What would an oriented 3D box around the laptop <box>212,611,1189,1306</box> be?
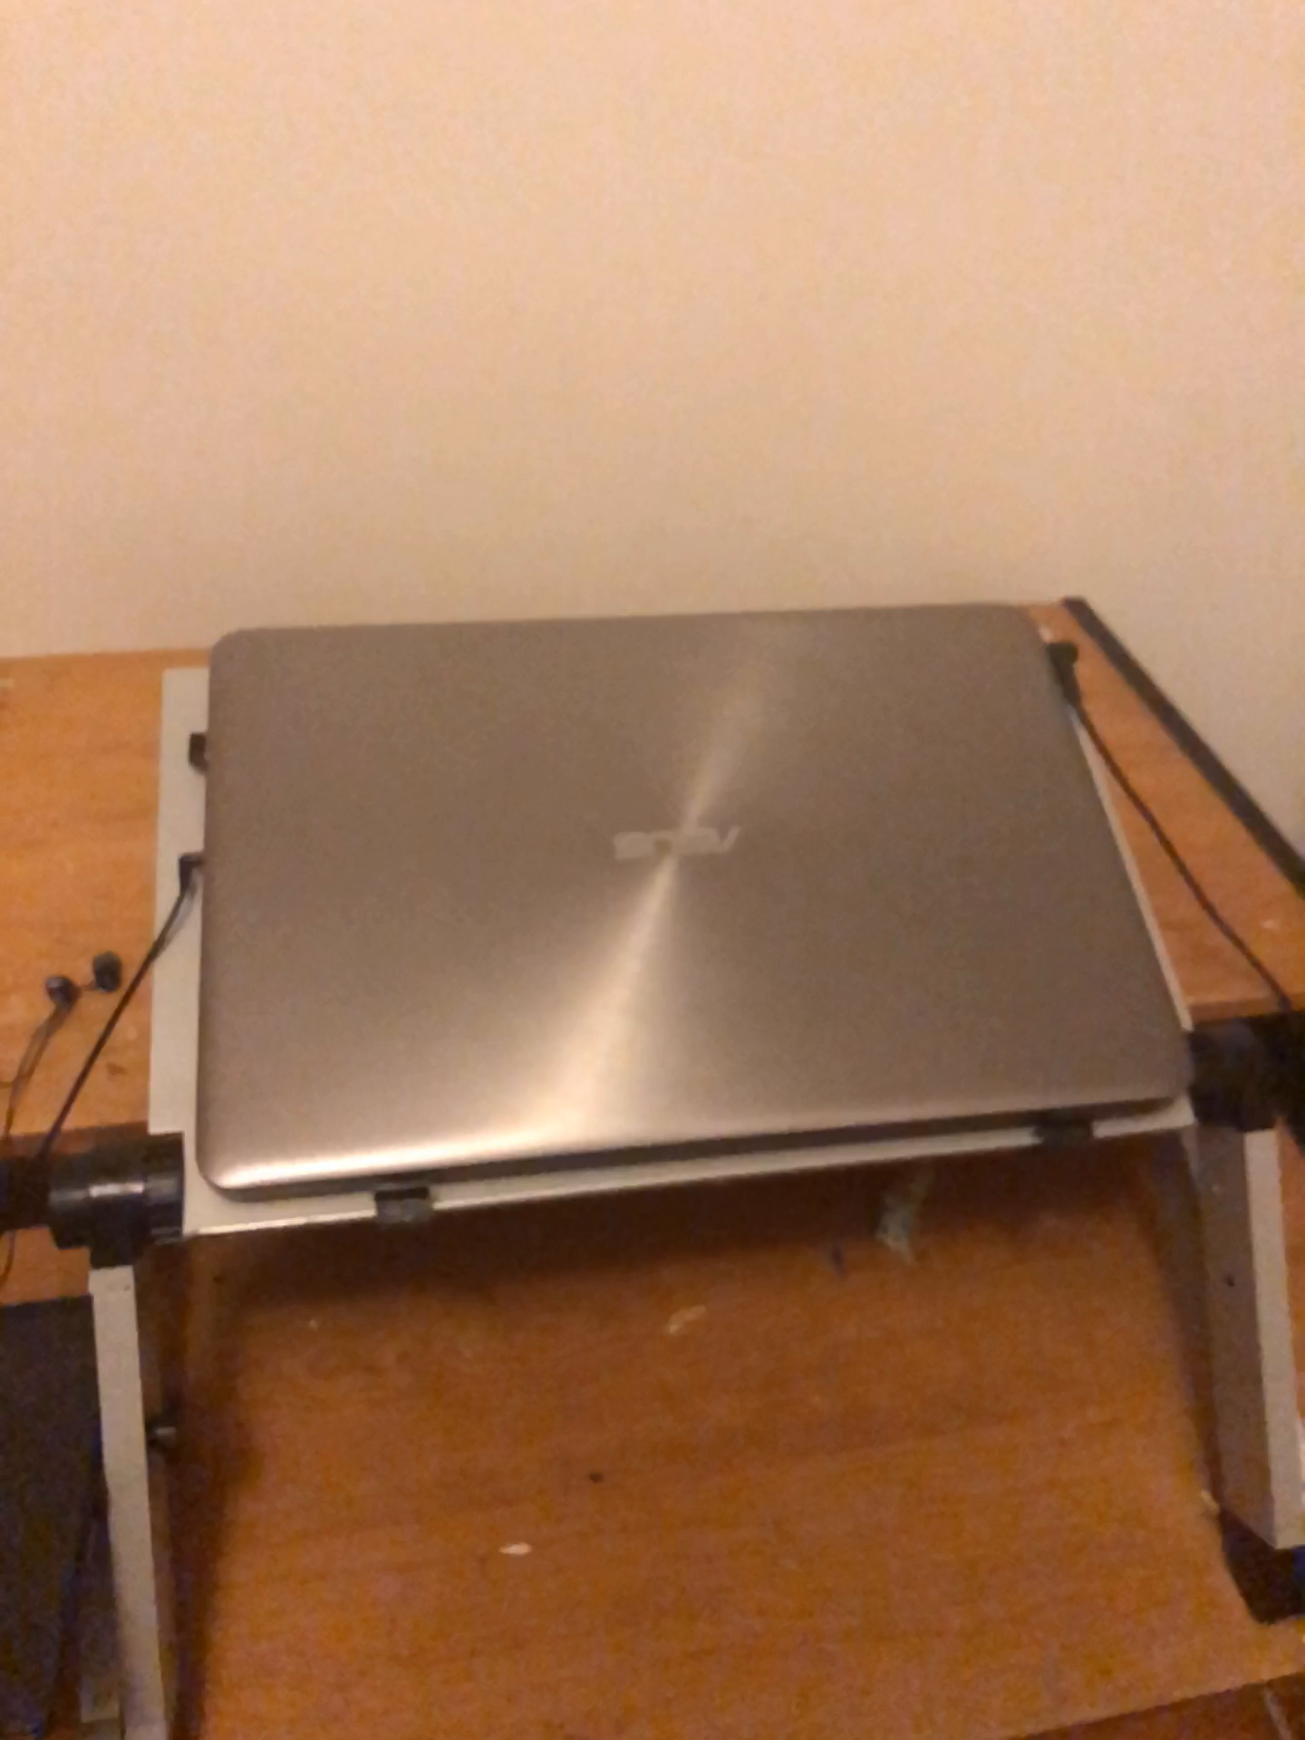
[{"bbox_3d":[0.006,0.021,0.620,0.362,0.071,0.250,-4,55,-8],"label":"laptop"}]
